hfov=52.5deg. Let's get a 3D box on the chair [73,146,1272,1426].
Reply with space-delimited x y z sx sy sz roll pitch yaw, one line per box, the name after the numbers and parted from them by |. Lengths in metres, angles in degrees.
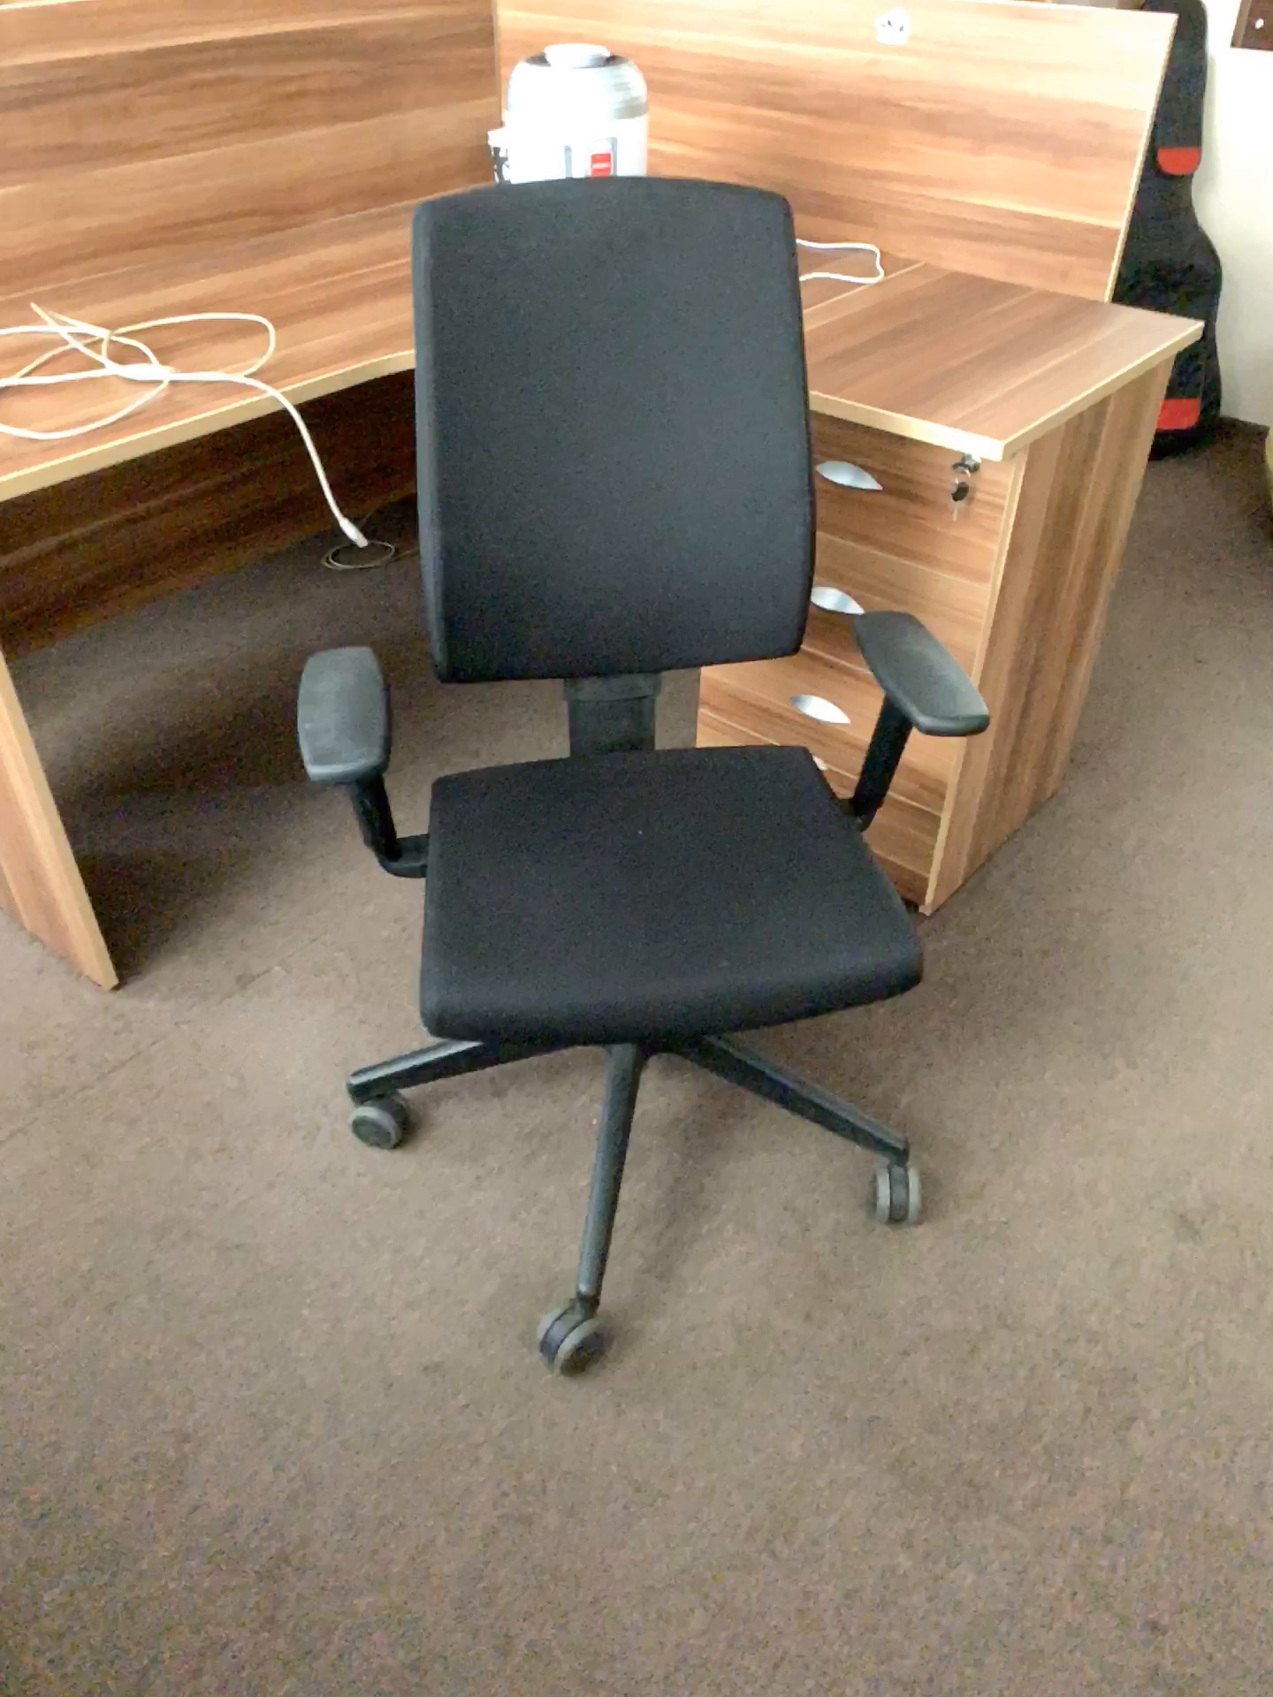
-0.017 -0.097 1.273 0.670 0.915 0.794 -6 39 -8 | chair
